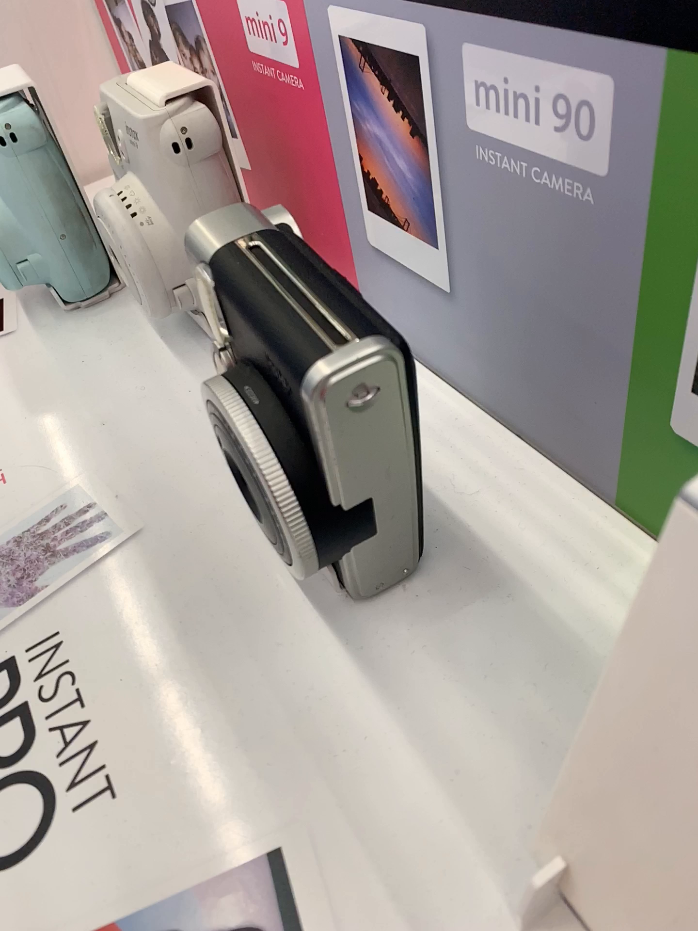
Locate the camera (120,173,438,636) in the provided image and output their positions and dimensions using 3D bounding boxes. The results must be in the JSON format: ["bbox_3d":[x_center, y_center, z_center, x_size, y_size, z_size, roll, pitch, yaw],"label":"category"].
[{"bbox_3d":[-0.021,-0.020,0.243,0.050,0.109,0.101,-26,49,-12],"label":"camera"}]
